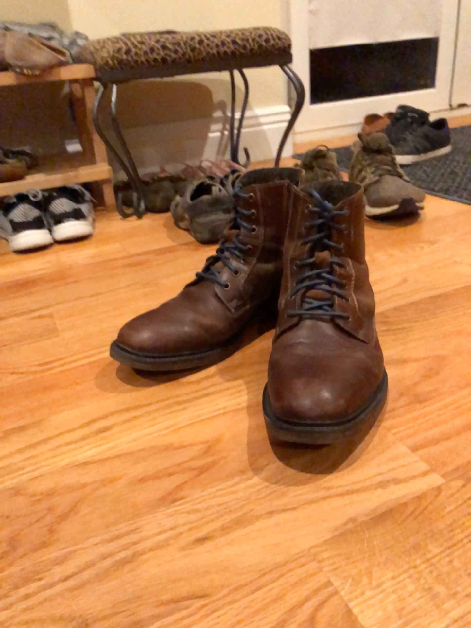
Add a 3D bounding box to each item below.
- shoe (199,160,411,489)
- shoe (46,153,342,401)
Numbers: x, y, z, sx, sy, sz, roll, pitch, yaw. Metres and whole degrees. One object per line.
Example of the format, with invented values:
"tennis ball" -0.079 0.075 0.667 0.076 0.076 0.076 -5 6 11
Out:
"shoe" 0.074 -0.021 0.486 0.128 0.176 0.305 1 27 11
"shoe" -0.022 -0.064 0.584 0.310 0.168 0.113 -26 33 -35
